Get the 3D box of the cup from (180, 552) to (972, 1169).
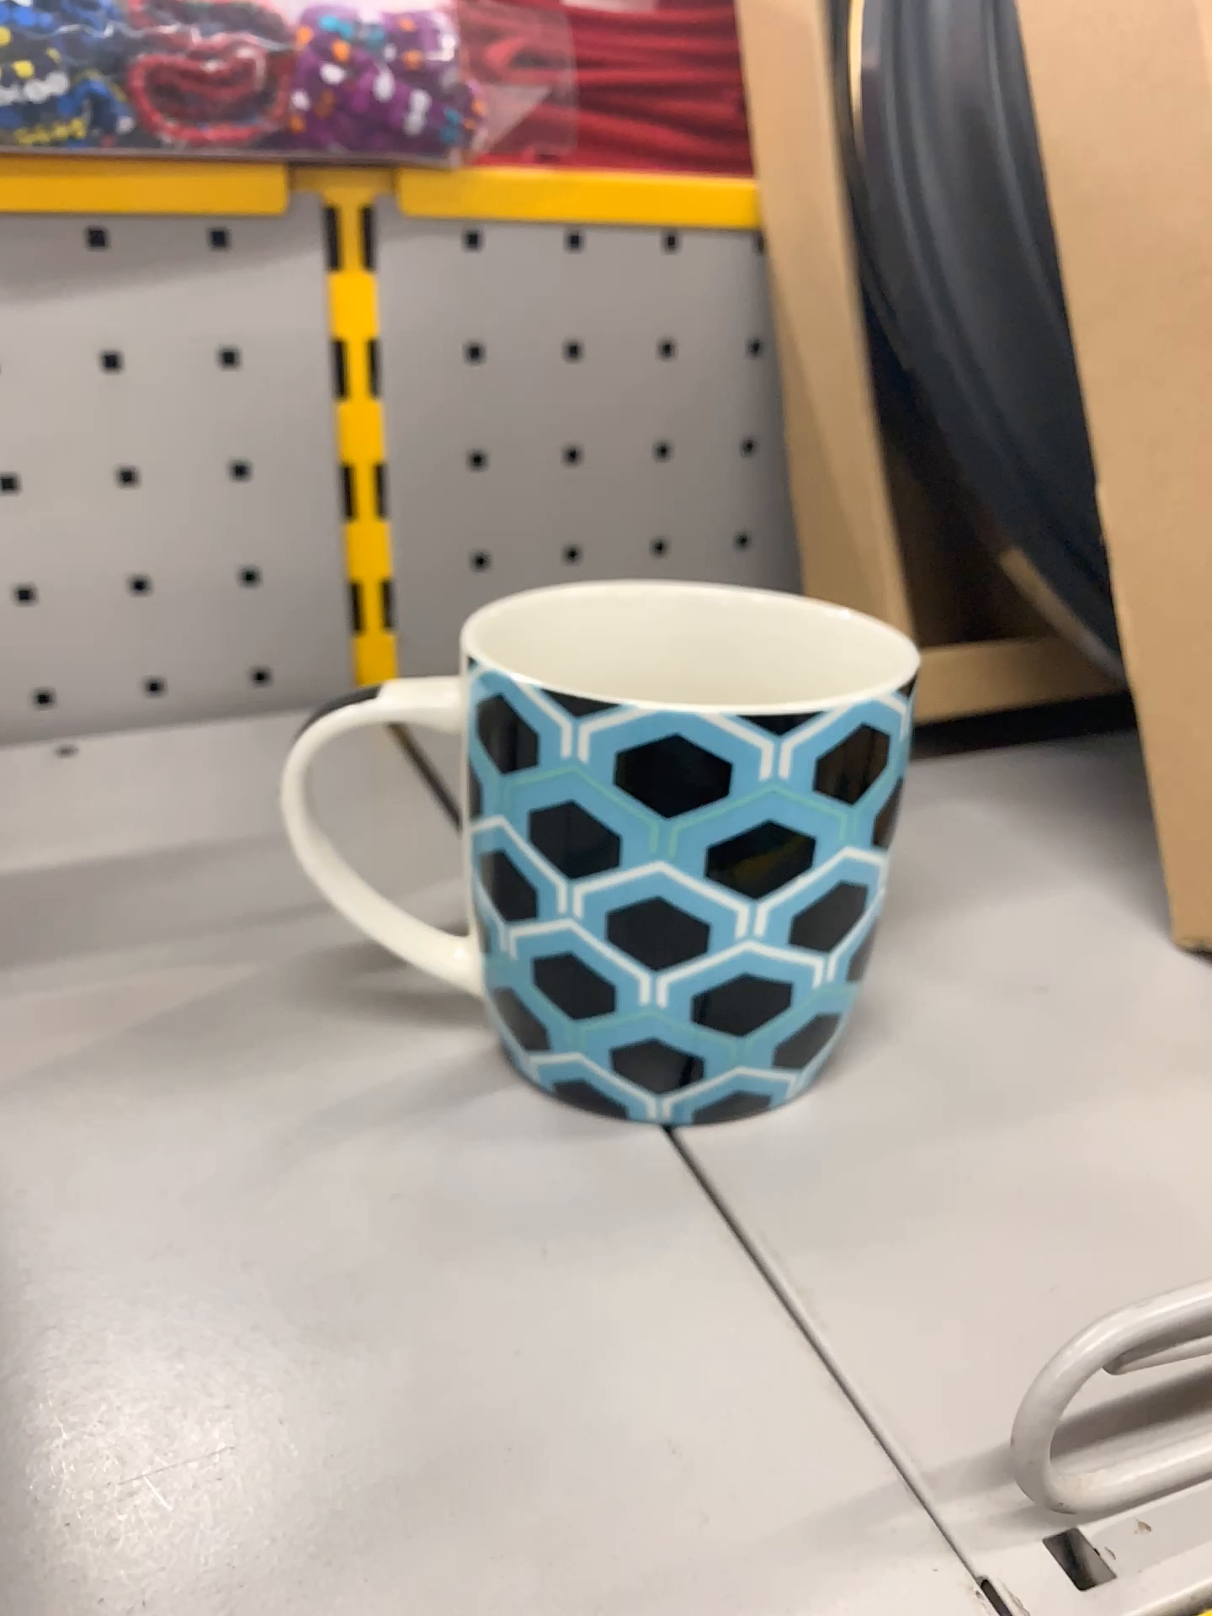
[{"bbox_3d":[-0.006,0.005,0.253,0.120,0.090,0.090,0,24,-2],"label":"cup"}]
